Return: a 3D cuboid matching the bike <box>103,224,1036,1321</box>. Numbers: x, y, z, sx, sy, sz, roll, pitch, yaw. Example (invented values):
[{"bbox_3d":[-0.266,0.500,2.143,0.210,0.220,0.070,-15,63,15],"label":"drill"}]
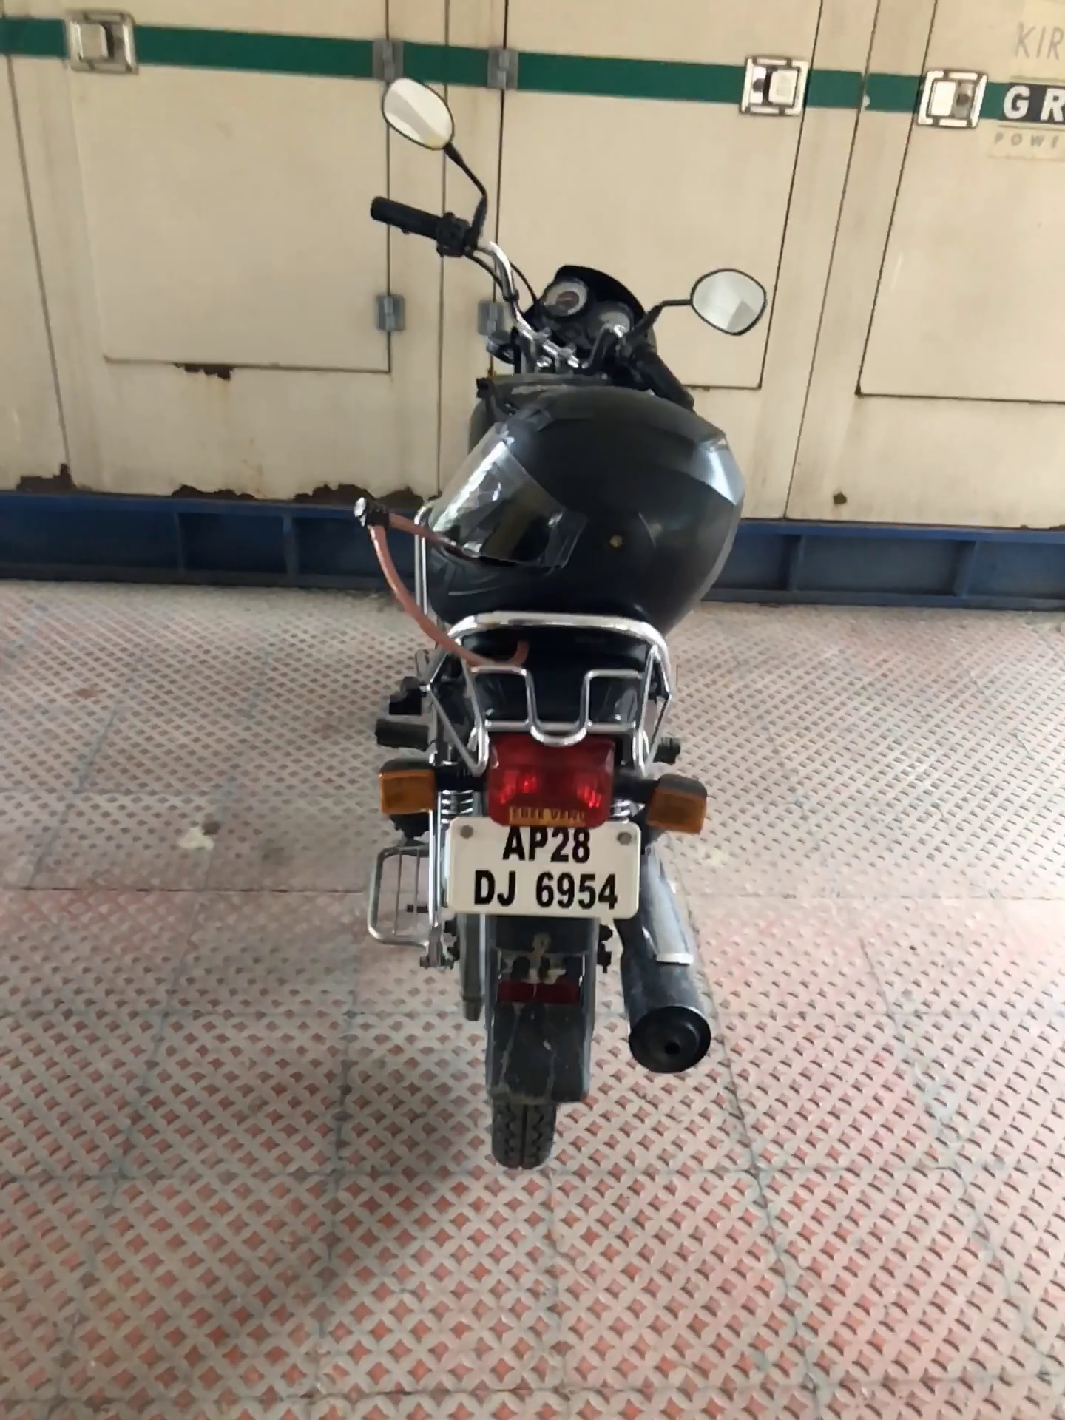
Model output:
[{"bbox_3d":[0.079,-0.149,2.028,0.735,1.086,1.870,6,29,3],"label":"bike"}]
